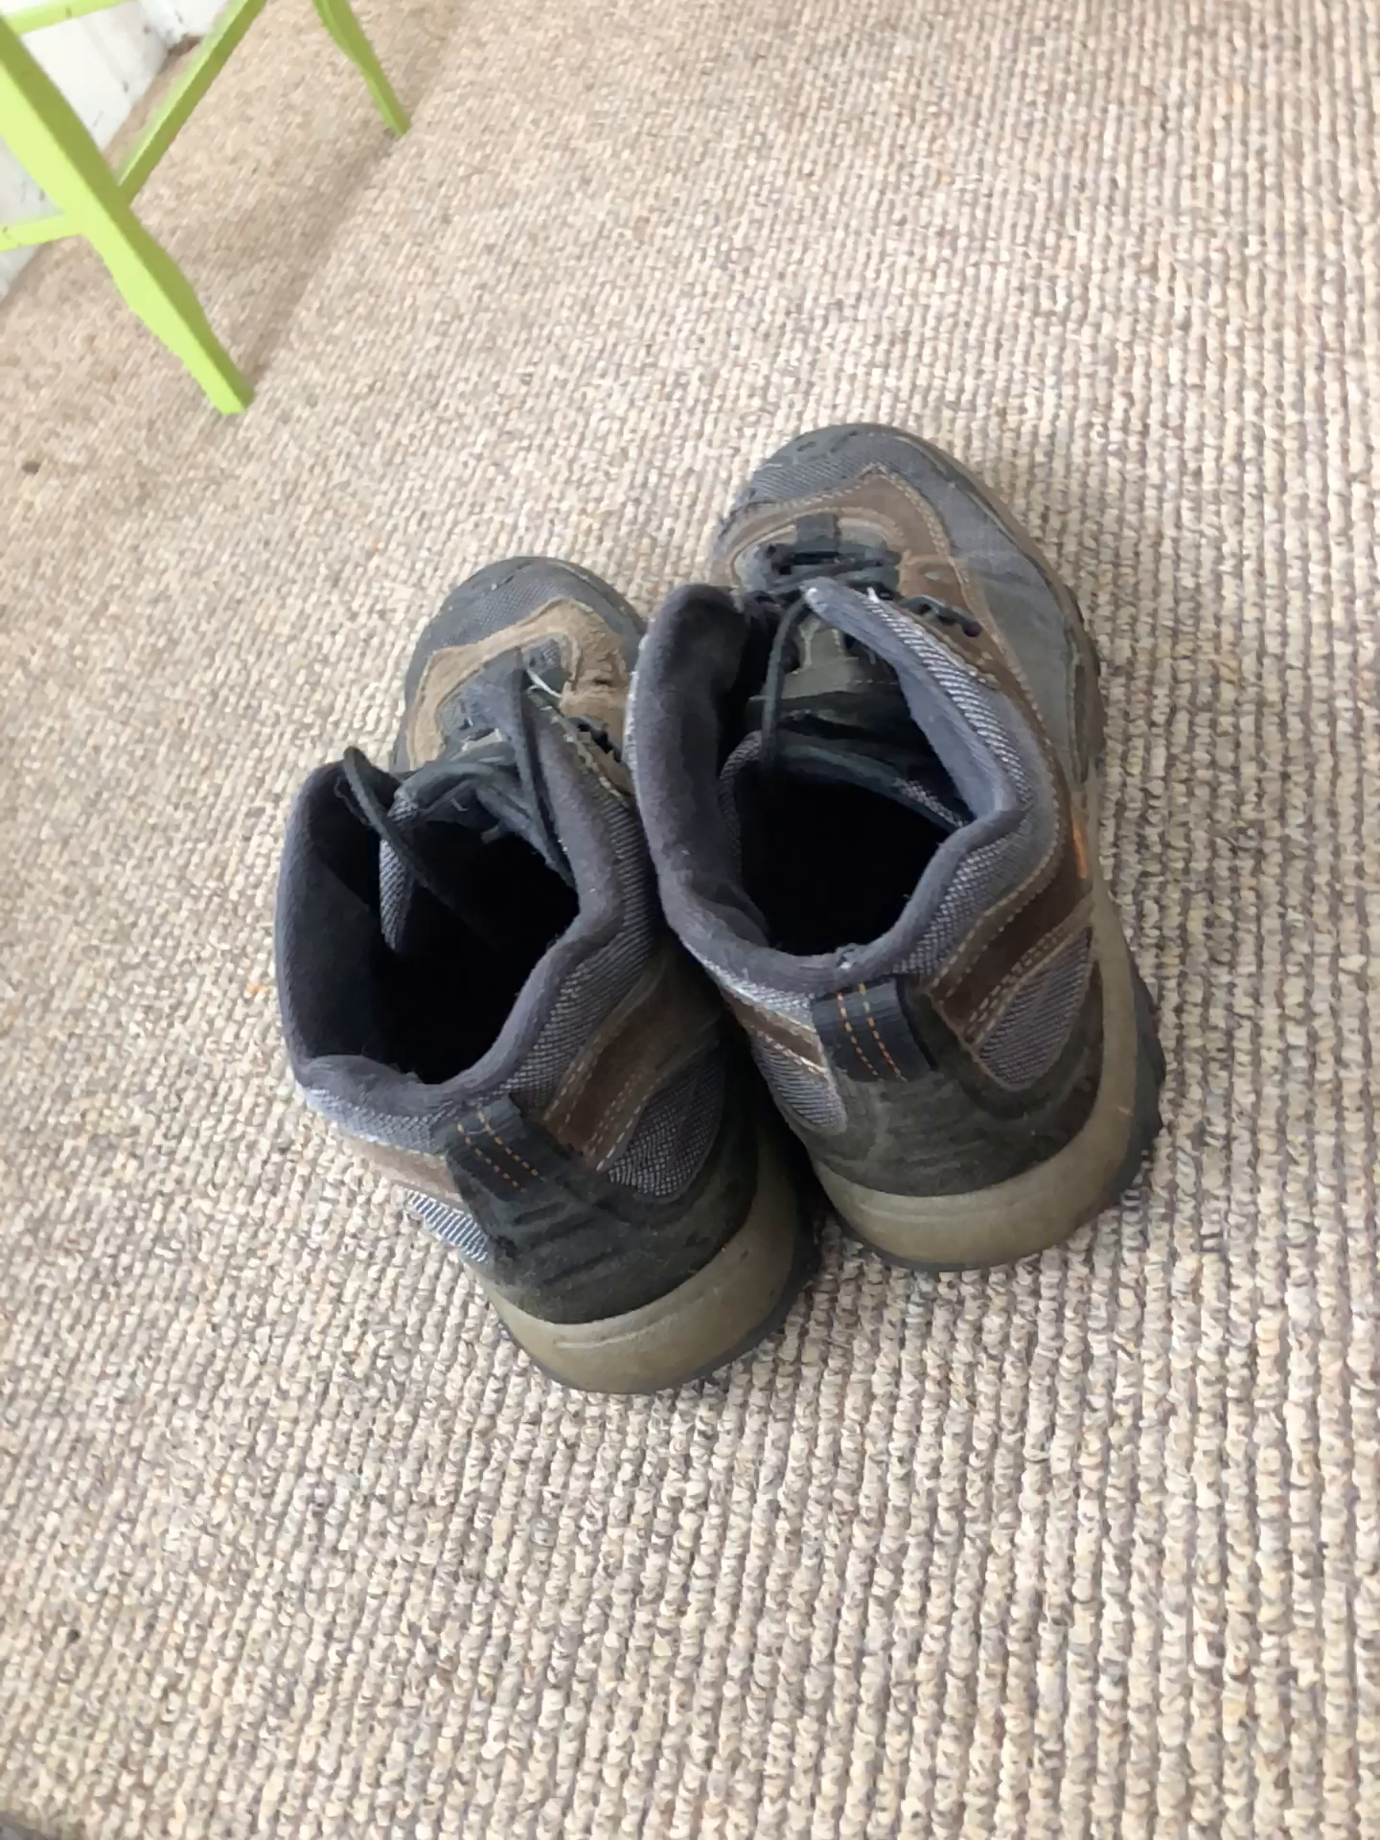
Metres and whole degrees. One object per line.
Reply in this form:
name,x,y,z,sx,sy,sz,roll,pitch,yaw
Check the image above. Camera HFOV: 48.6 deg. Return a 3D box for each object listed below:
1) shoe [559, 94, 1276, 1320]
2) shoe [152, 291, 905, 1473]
shoe,0.056,-0.062,0.400,0.118,0.137,0.281,-12,51,16
shoe,-0.050,-0.022,0.420,0.116,0.135,0.281,-21,50,9
